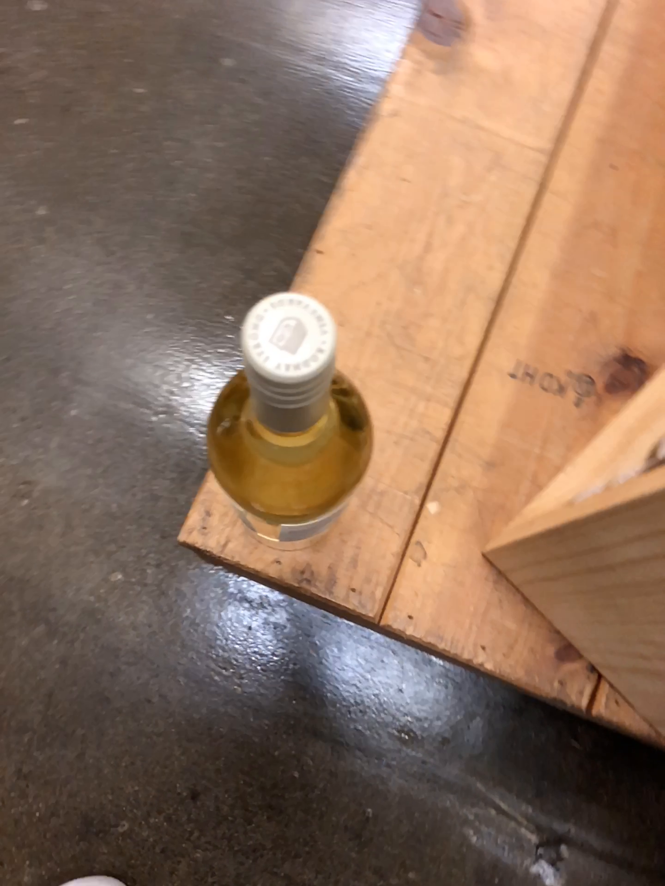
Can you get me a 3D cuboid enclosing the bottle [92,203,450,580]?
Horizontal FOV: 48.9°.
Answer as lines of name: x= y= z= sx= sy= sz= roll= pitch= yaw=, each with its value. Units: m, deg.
bottle: x=-0.021 y=0.009 z=0.349 sx=0.079 sy=0.284 sz=0.073 roll=0 pitch=77 yaw=-2
